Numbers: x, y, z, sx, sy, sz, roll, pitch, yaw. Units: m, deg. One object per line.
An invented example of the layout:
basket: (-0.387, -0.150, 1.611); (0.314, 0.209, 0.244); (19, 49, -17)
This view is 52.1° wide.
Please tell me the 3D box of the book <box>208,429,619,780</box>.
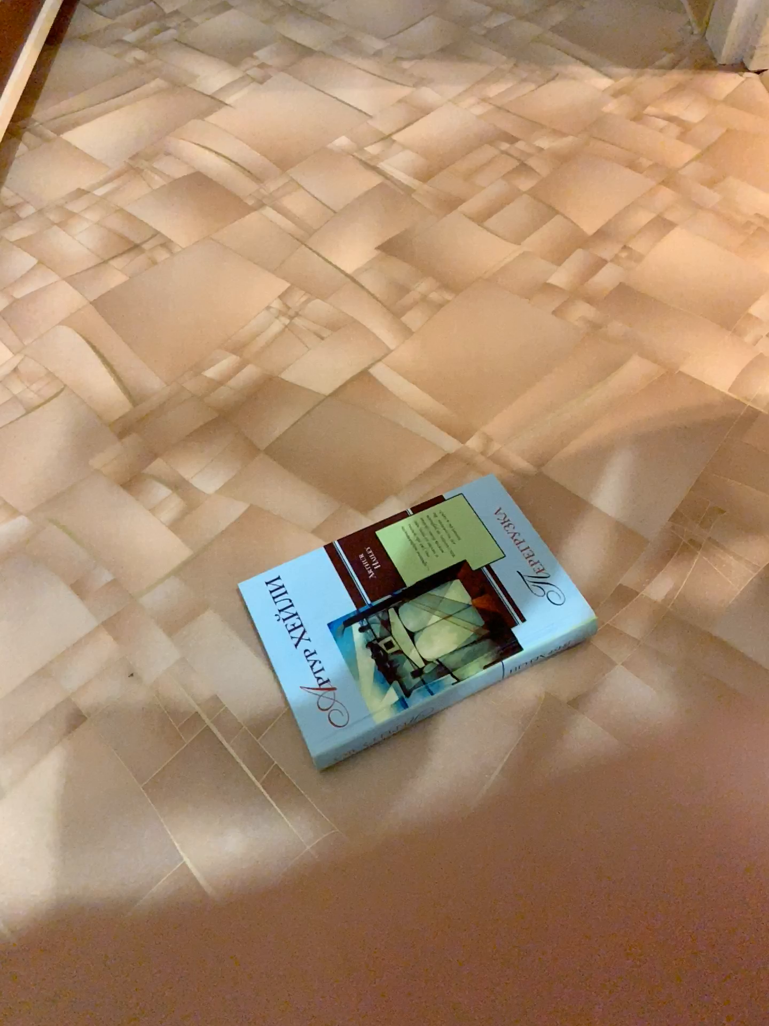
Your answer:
book: (0.015, 0.049, 0.508); (0.210, 0.040, 0.151); (-24, 59, -13)
